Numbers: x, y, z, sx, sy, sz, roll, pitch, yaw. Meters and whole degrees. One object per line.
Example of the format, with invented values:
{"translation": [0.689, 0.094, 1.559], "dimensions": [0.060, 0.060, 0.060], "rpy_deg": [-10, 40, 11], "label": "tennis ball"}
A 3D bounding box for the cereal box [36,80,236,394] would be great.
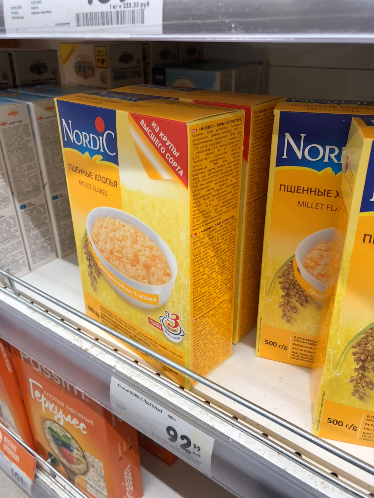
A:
{"translation": [-0.040, -0.015, 0.331], "dimensions": [0.140, 0.209, 0.060], "rpy_deg": [24, 36, 39], "label": "cereal box"}
